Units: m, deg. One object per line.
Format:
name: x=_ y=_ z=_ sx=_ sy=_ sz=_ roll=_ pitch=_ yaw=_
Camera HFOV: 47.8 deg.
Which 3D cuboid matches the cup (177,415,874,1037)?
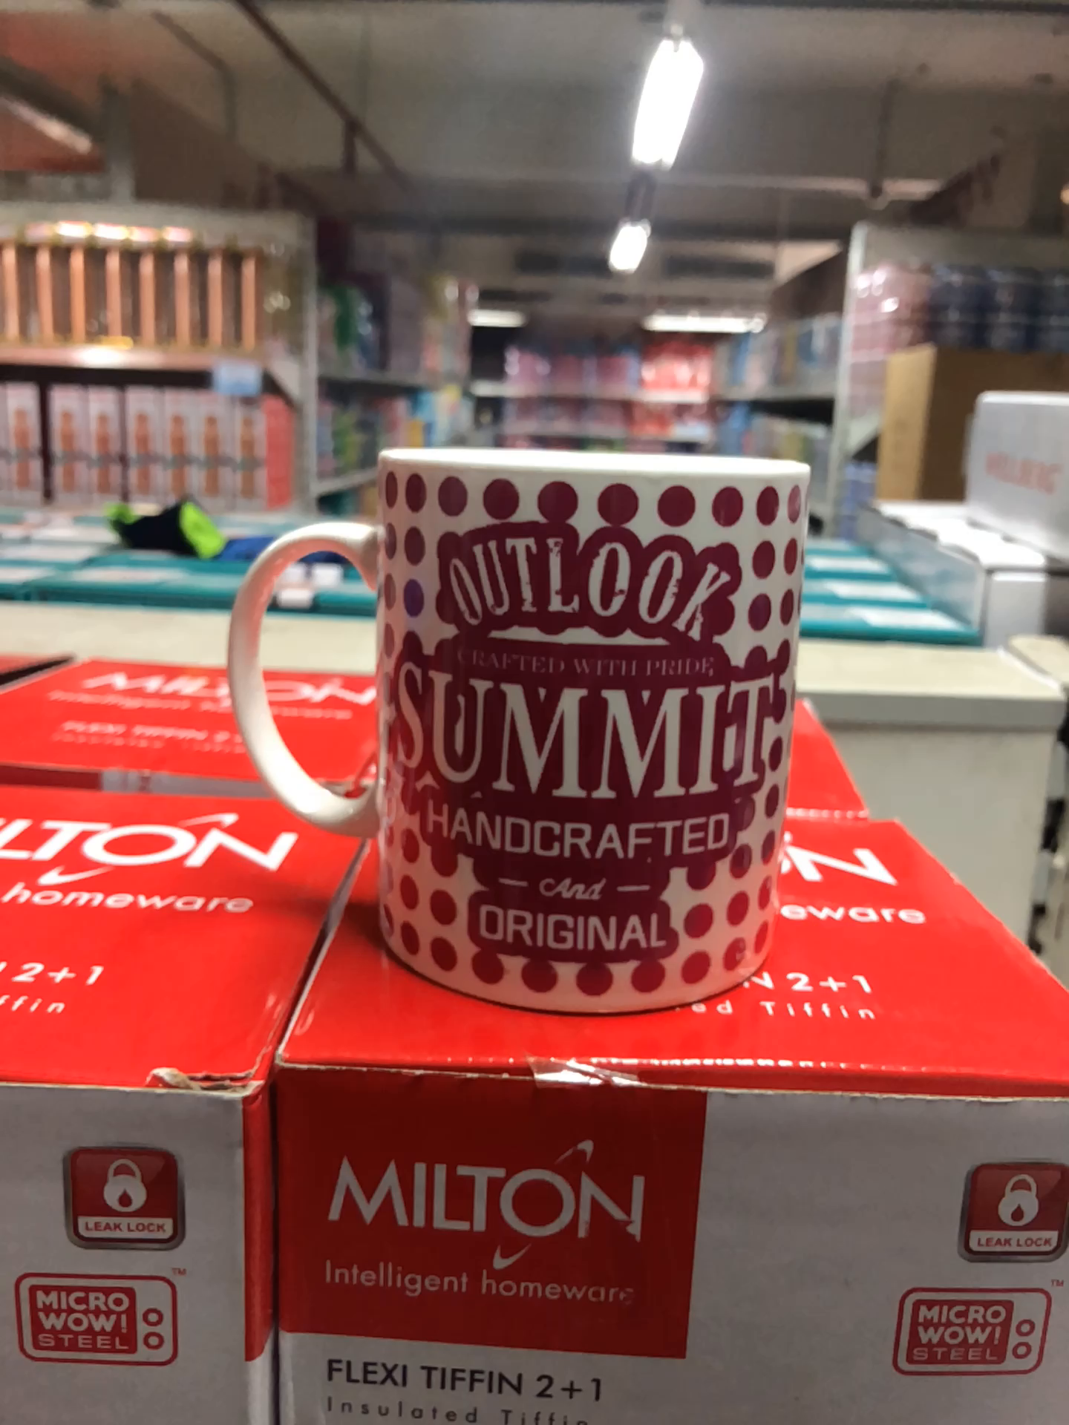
cup: x=-0.002 y=-0.005 z=0.240 sx=0.110 sy=0.100 sz=0.080 roll=4 pitch=14 yaw=3
